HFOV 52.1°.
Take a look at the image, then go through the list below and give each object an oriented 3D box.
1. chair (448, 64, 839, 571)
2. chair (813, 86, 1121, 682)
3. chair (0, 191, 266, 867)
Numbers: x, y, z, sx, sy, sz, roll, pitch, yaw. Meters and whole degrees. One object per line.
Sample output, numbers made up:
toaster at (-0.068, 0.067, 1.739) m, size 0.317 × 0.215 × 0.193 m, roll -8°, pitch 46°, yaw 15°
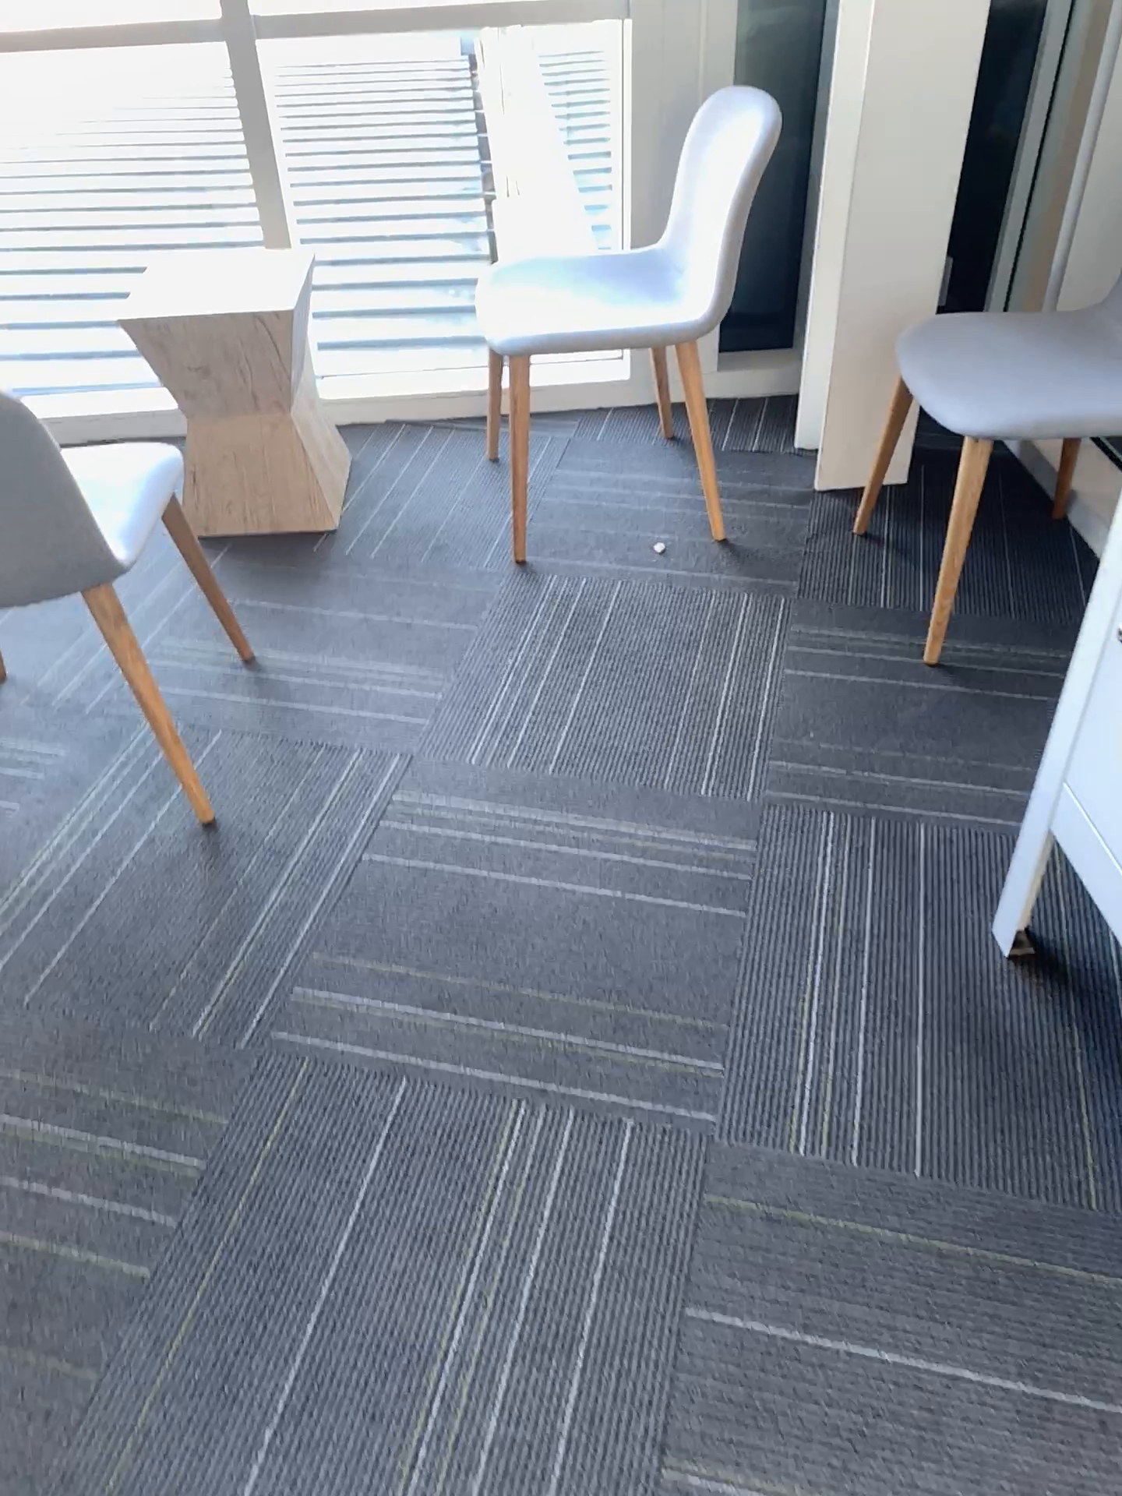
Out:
chair at (0.123, -0.878, 2.327) m, size 0.600 × 0.746 × 0.644 m, roll -6°, pitch 41°, yaw -4°
chair at (0.873, -0.645, 2.020) m, size 0.600 × 0.766 × 0.644 m, roll -6°, pitch 41°, yaw -4°
chair at (-0.834, -0.328, 1.734) m, size 0.560 × 0.766 × 0.604 m, roll -5°, pitch 41°, yaw -3°
